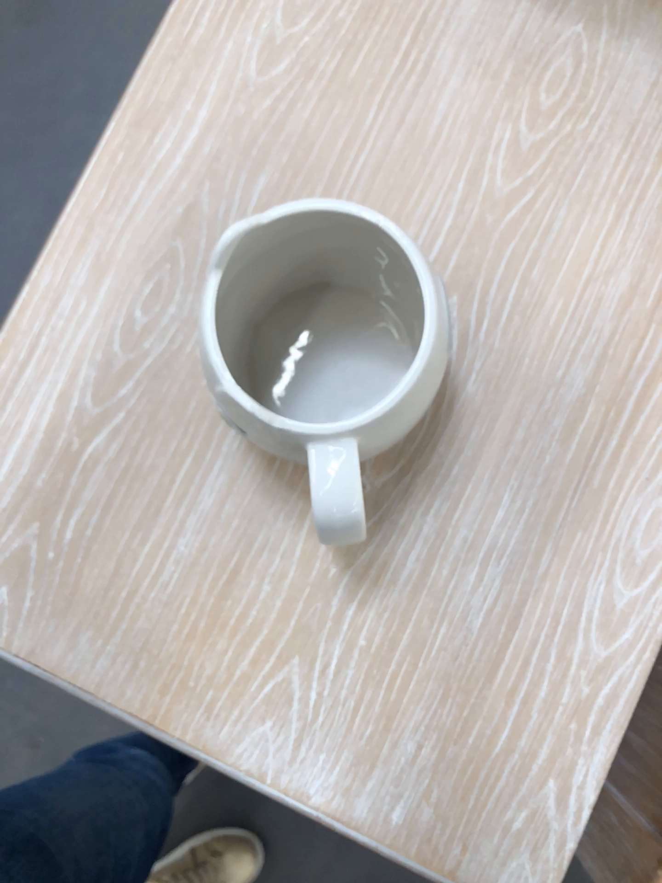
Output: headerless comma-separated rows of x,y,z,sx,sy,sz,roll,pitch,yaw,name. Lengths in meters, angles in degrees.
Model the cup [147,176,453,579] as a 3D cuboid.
-0.008,-0.018,0.278,0.091,0.073,0.124,-5,83,6,cup
